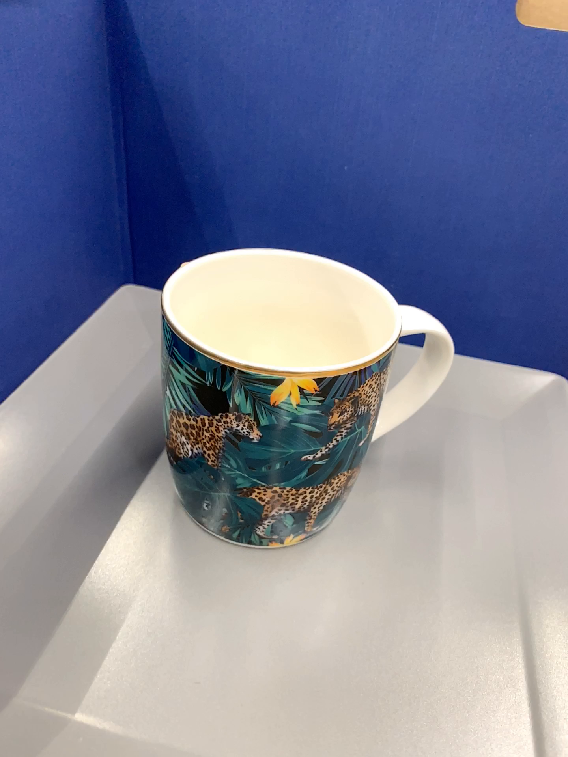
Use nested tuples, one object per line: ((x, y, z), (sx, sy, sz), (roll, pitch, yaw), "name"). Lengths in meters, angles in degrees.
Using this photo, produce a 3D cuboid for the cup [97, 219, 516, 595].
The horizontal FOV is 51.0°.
((0.004, 0.000, 0.244), (0.126, 0.091, 0.093), (-14, 38, -28), "cup")
